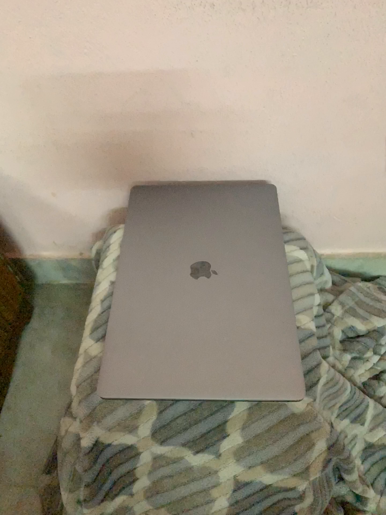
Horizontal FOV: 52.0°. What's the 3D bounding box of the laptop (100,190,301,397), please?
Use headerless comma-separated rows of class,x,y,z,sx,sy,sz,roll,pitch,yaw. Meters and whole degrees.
laptop,0.012,0.022,0.545,0.228,0.002,0.327,0,53,4
